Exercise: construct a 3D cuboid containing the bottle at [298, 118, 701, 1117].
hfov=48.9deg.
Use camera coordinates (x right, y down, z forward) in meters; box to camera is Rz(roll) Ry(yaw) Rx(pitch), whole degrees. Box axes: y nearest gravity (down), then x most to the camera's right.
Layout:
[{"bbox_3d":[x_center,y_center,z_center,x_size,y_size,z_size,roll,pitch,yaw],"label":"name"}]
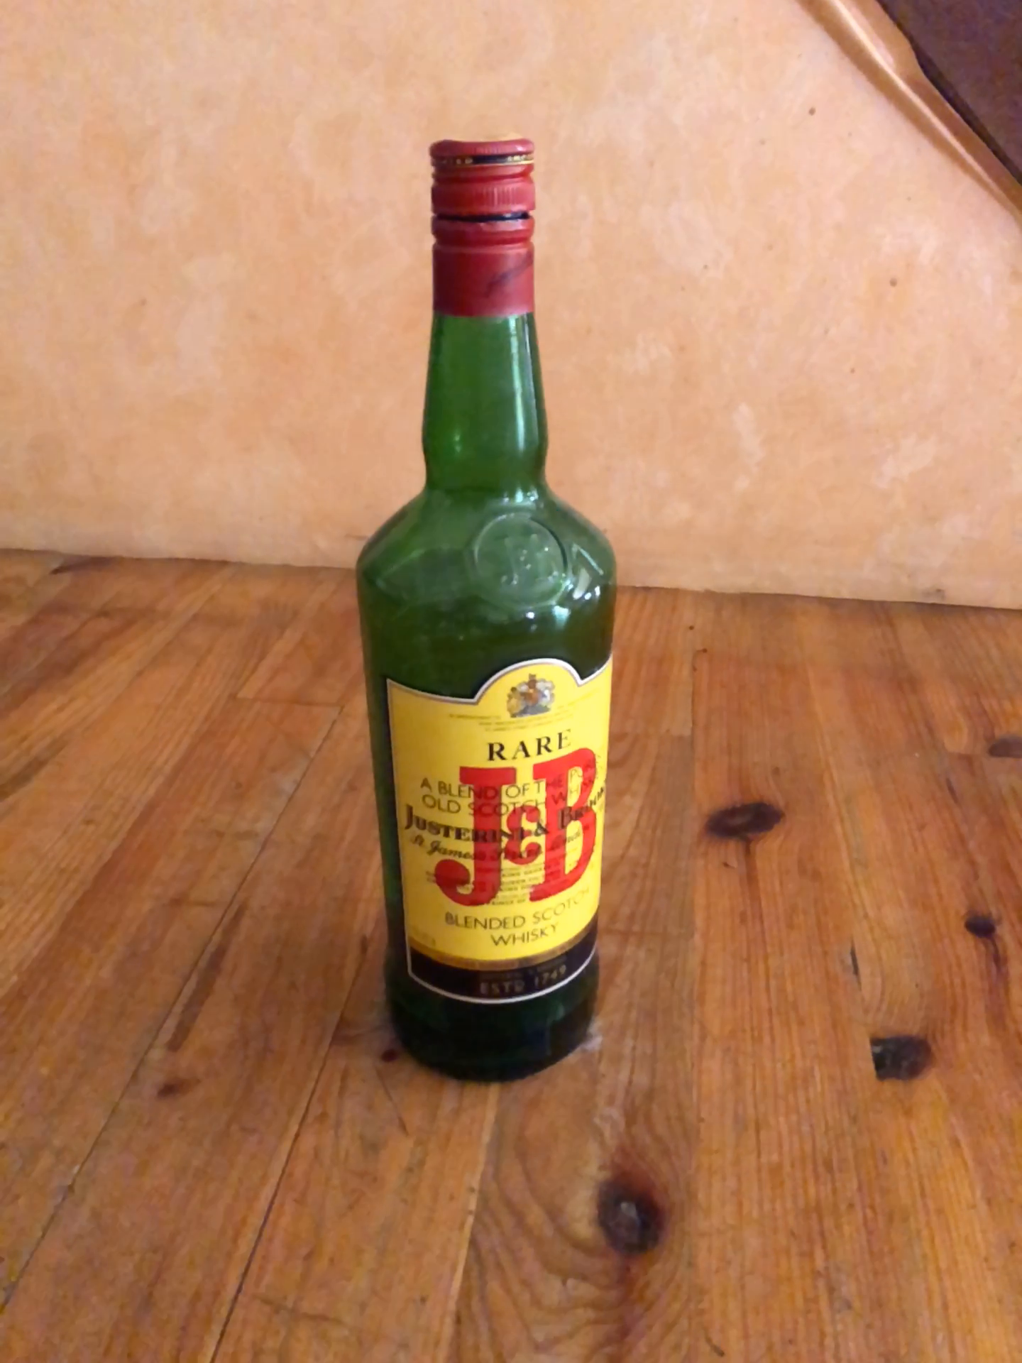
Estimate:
[{"bbox_3d":[-0.007,-0.008,0.375,0.090,0.318,0.080,-8,29,-14],"label":"bottle"}]
